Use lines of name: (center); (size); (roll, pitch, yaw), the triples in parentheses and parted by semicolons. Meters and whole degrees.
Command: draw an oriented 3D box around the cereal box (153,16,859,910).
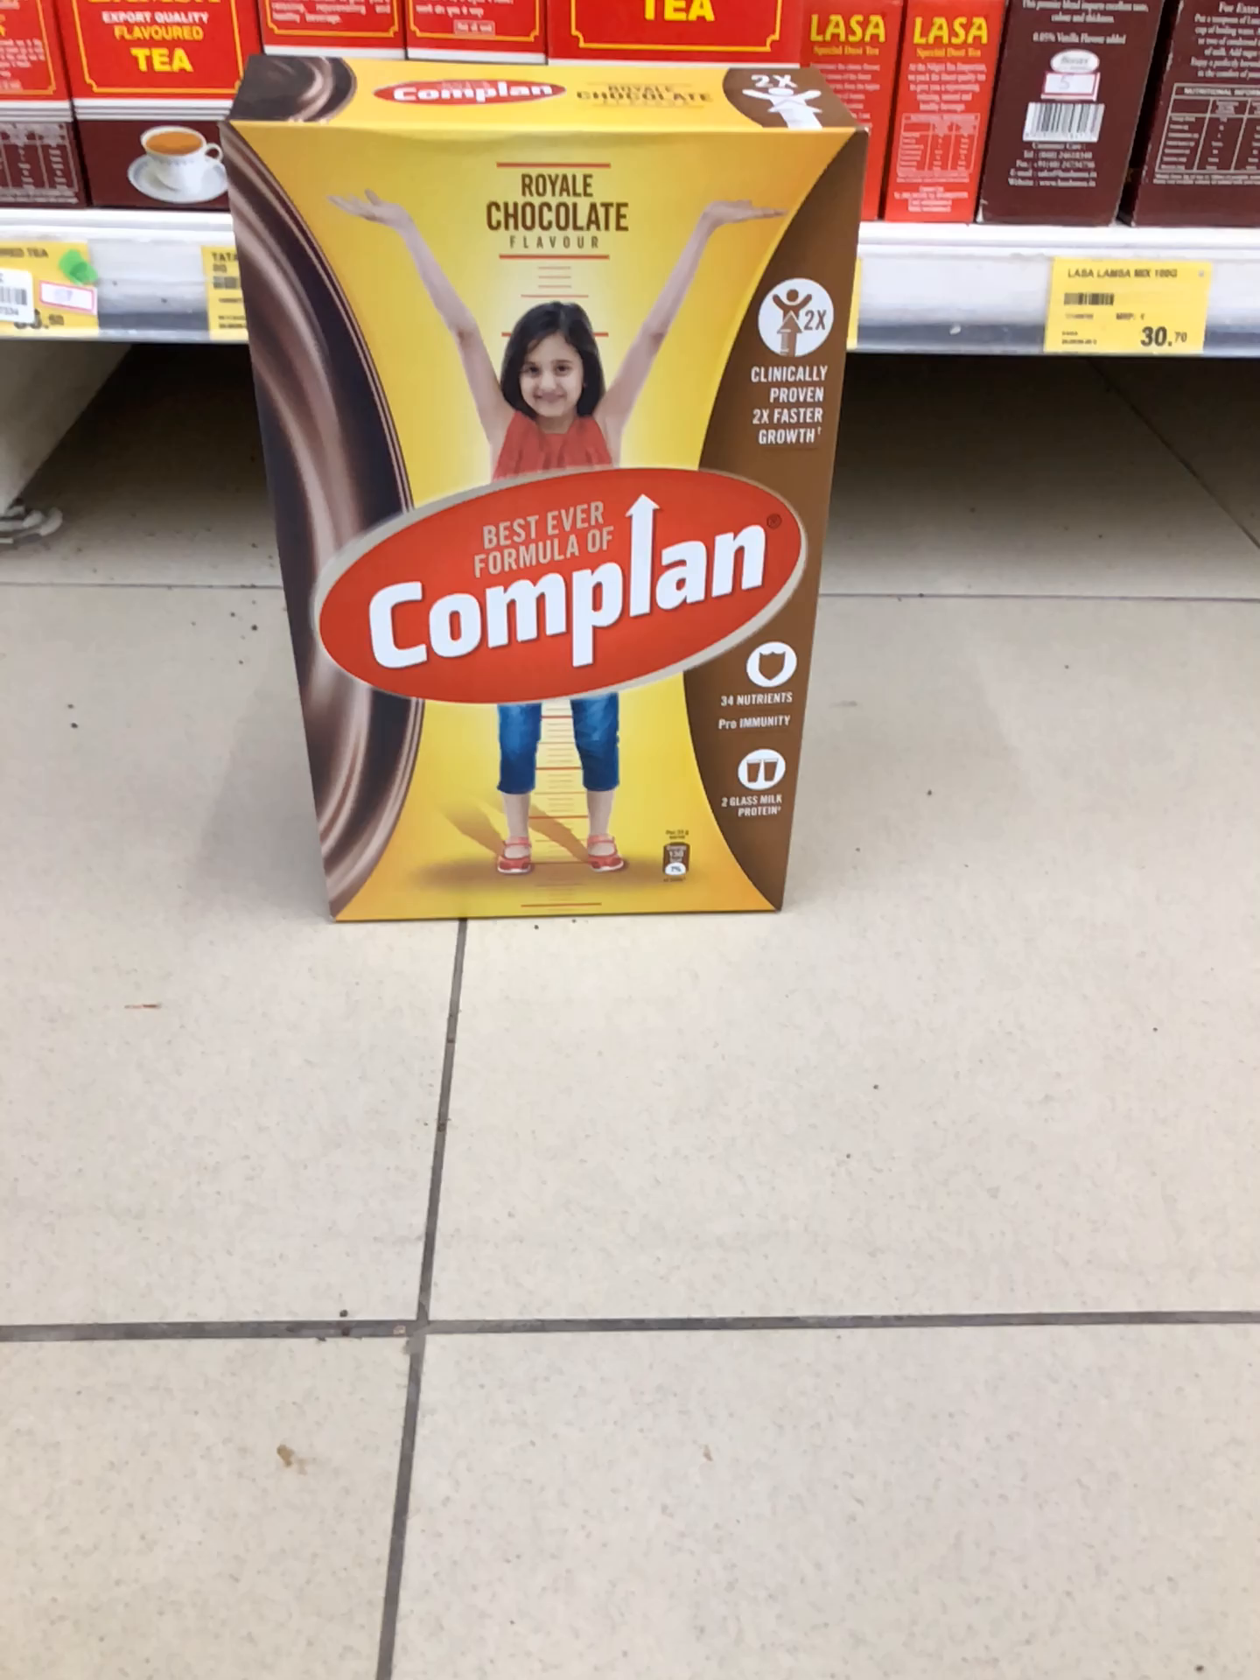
cereal box: (-0.032, -0.099, 0.420); (0.160, 0.248, 0.070); (-2, 38, -4)
